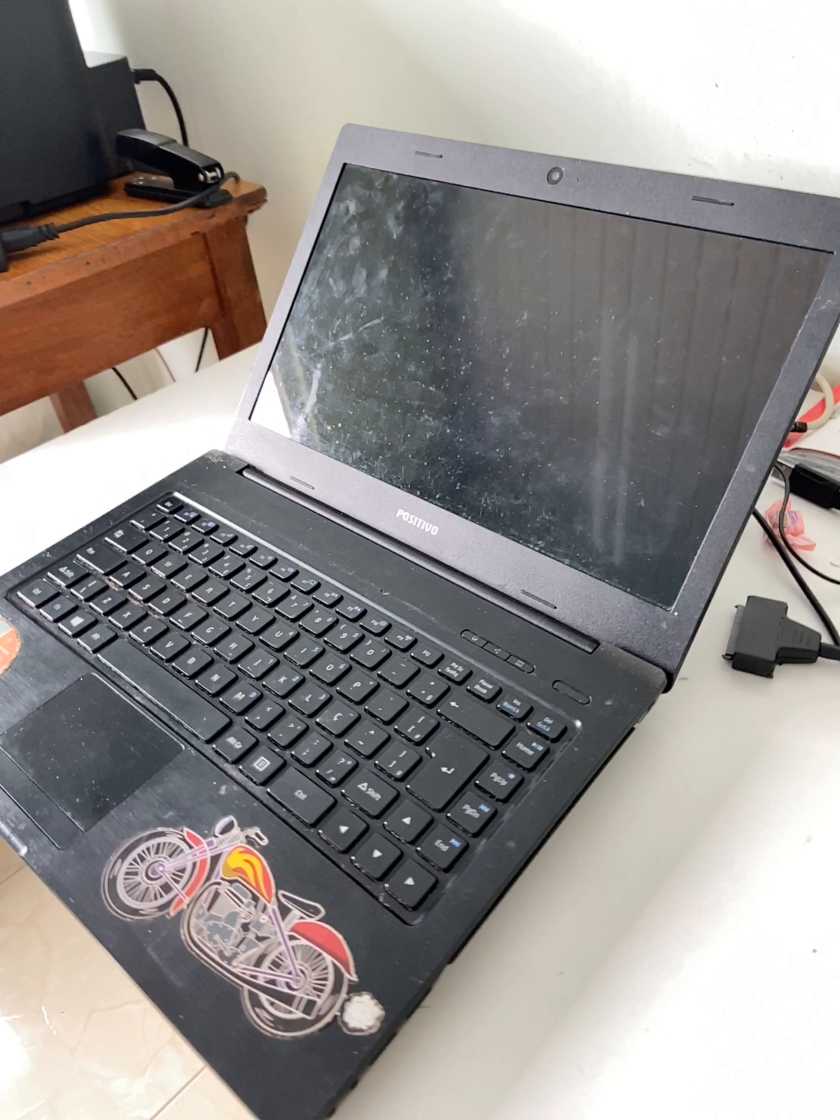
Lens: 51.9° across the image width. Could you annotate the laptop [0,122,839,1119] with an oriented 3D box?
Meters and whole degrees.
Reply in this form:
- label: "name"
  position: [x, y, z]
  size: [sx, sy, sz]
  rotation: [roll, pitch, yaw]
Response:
- label: "laptop"
  position: [-0.046, -0.051, 0.411]
  size: [0.335, 0.162, 0.394]
  rotation: [27, 50, 33]
